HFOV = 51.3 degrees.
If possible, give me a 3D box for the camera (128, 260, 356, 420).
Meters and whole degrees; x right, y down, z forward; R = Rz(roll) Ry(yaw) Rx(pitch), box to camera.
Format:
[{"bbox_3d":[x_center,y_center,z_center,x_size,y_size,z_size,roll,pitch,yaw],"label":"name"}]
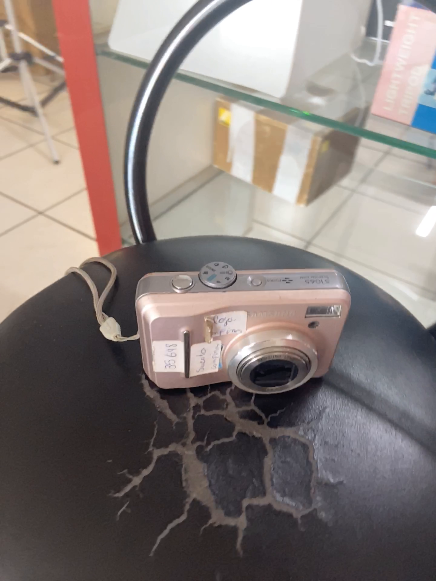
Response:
[{"bbox_3d":[0.008,0.026,0.234,0.100,0.070,0.040,-3,43,-7],"label":"camera"}]
